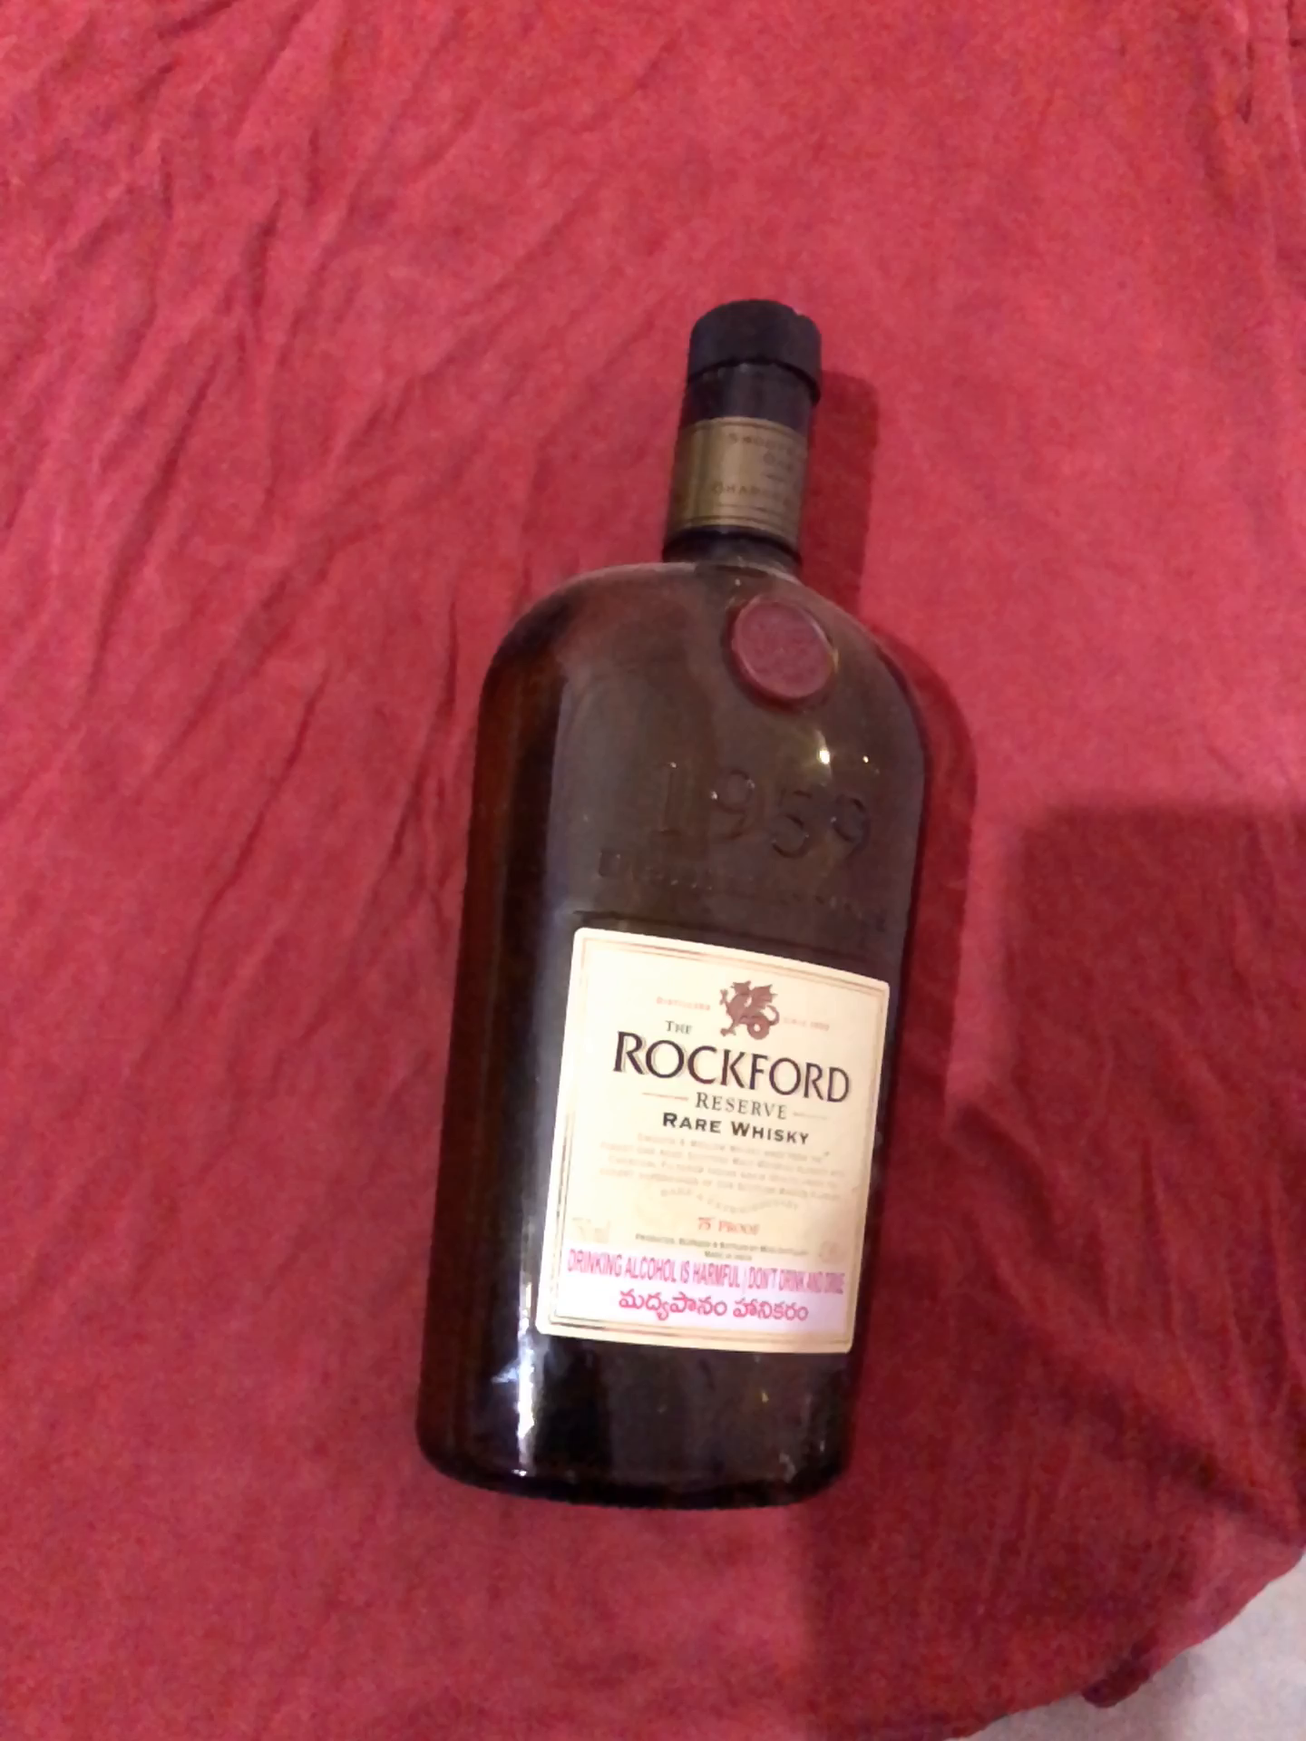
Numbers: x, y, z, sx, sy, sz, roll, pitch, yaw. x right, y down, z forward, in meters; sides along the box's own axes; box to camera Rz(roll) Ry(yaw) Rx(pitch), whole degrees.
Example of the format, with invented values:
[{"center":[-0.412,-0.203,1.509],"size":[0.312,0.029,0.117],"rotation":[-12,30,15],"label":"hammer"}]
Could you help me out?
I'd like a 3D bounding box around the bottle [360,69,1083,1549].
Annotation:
[{"center":[0.017,-0.010,0.284],"size":[0.100,0.060,0.250],"rotation":[11,79,-22],"label":"bottle"}]
